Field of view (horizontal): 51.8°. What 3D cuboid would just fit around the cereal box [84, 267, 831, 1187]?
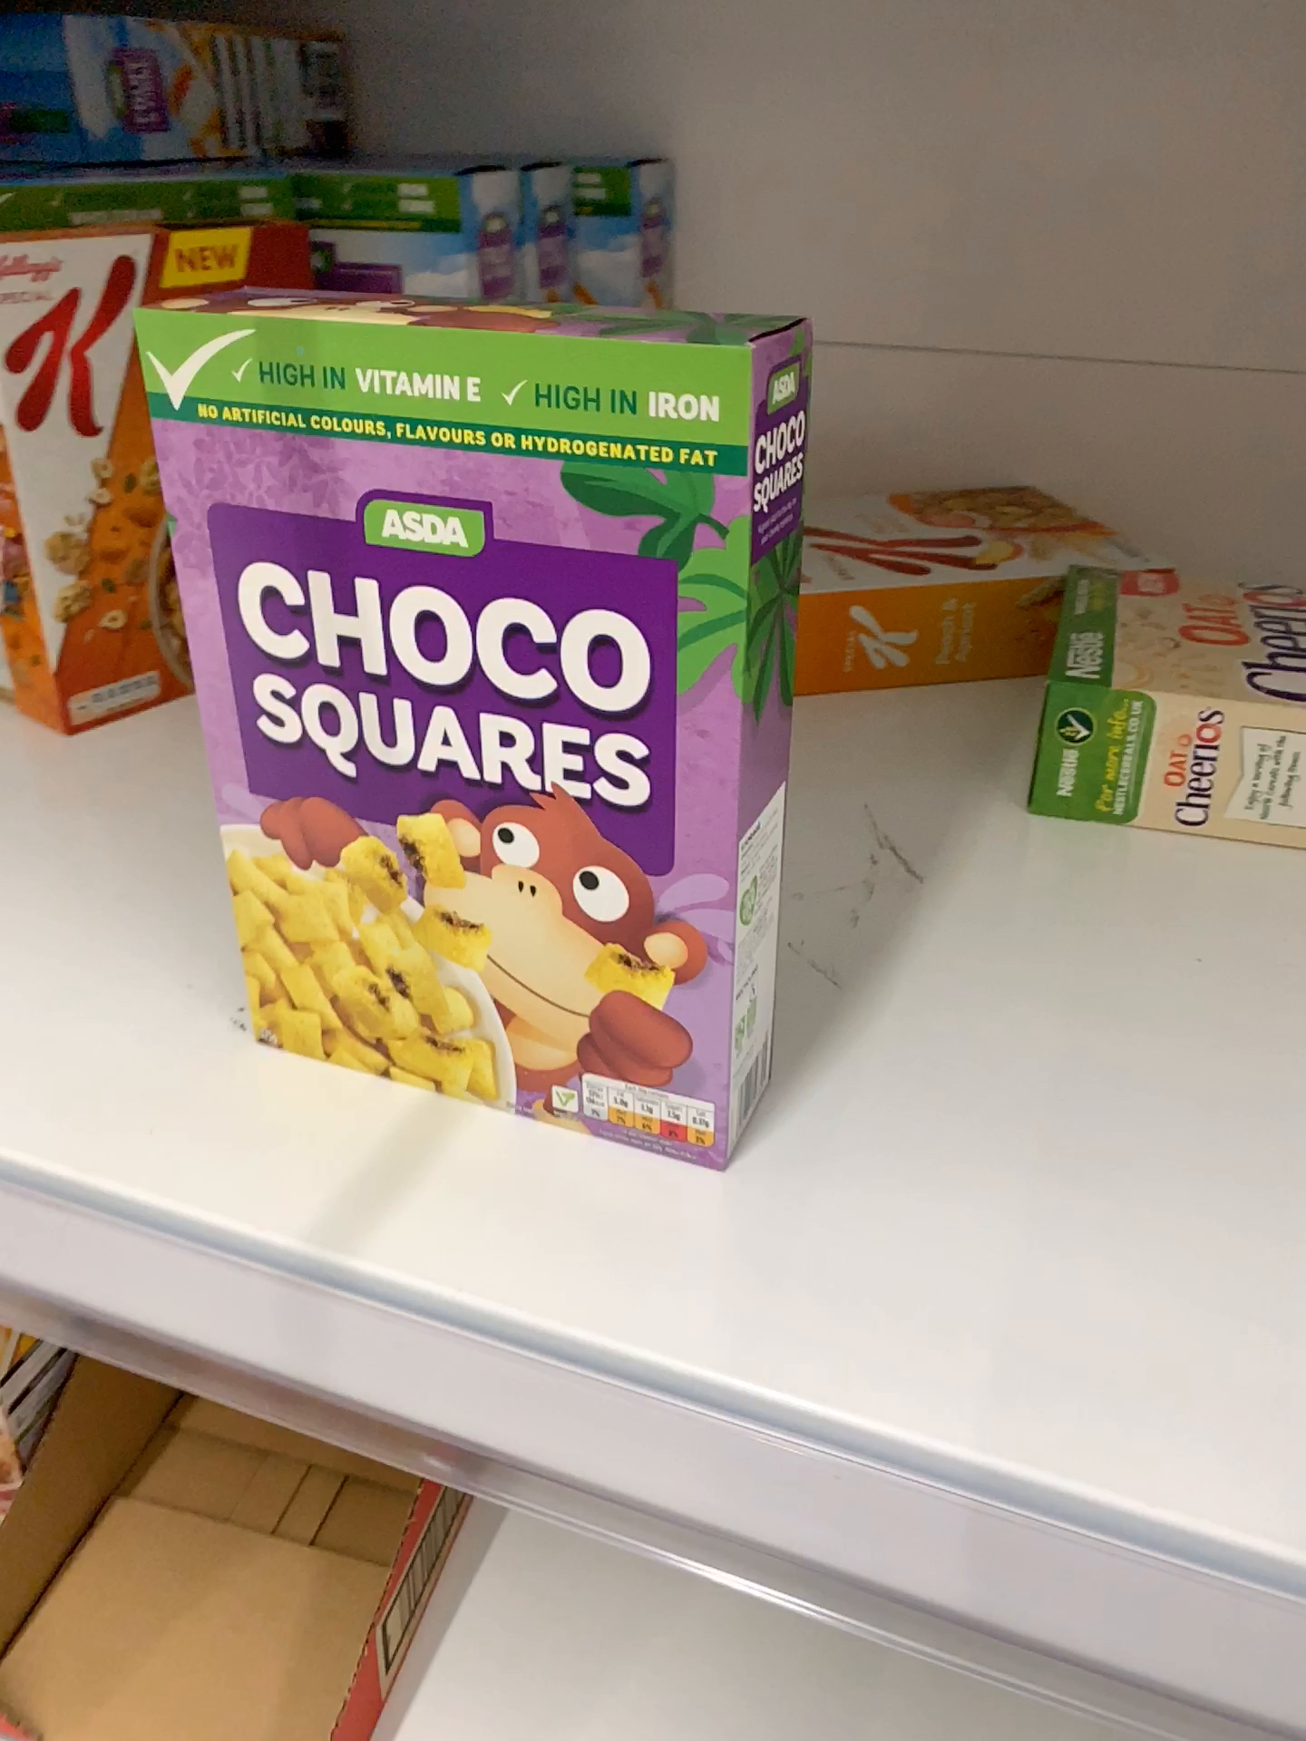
[{"bbox_3d":[-0.054,-0.043,0.412,0.190,0.248,0.061,12,31,20],"label":"cereal box"}]
